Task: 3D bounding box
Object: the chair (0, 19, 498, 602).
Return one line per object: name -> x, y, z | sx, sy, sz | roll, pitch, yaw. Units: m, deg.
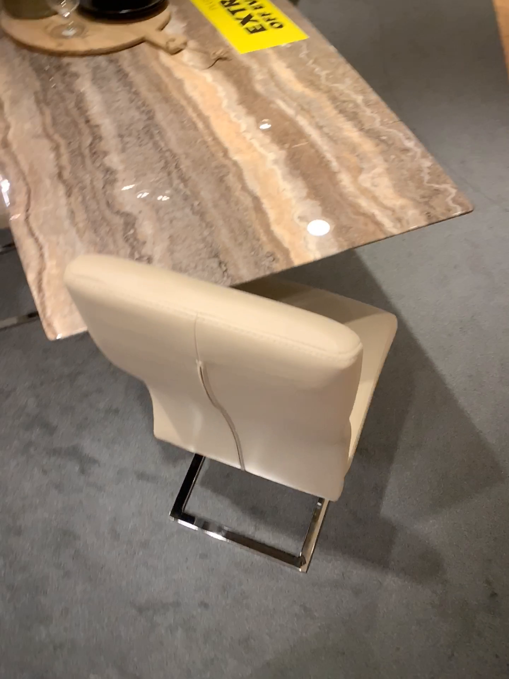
chair -> 0.022, 0.049, 1.031 | 0.474, 0.975, 0.573 | 18, 56, 11
